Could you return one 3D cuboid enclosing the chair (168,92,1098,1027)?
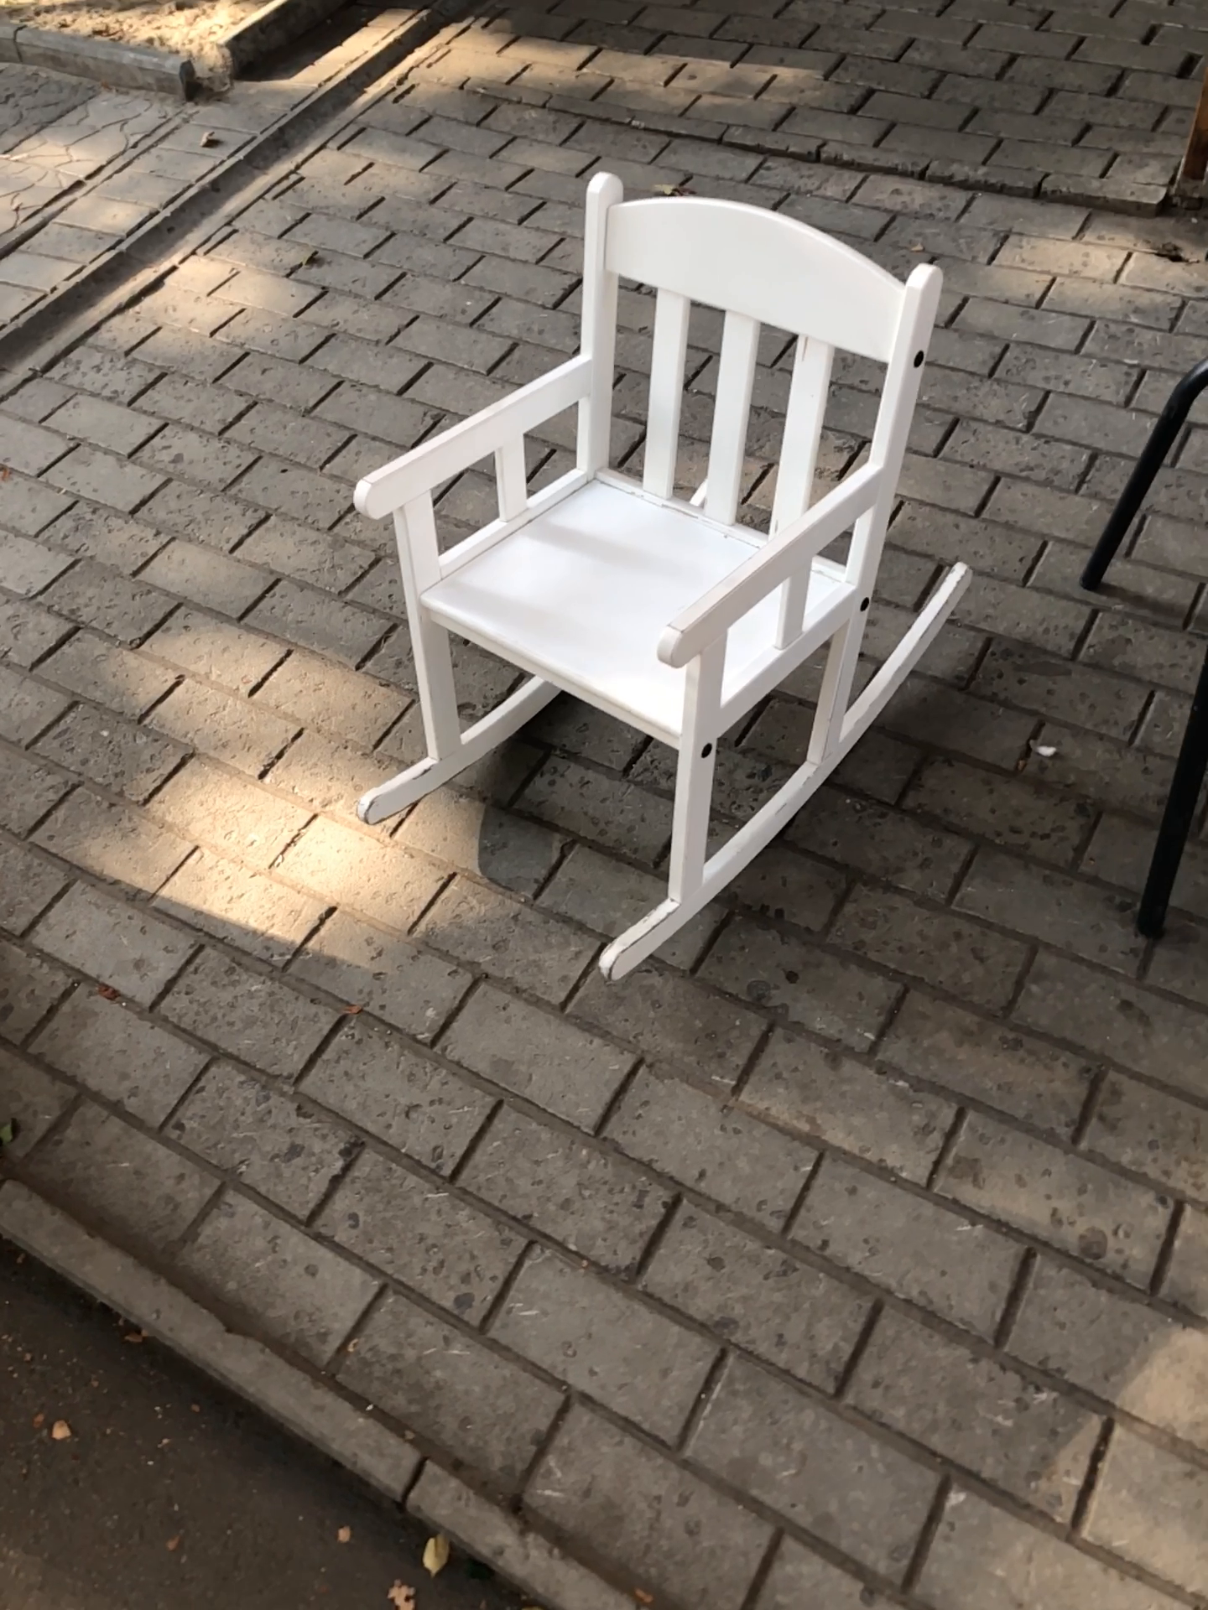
[{"bbox_3d":[0.073,-0.278,1.307,0.441,0.458,0.752,28,58,26],"label":"chair"}]
